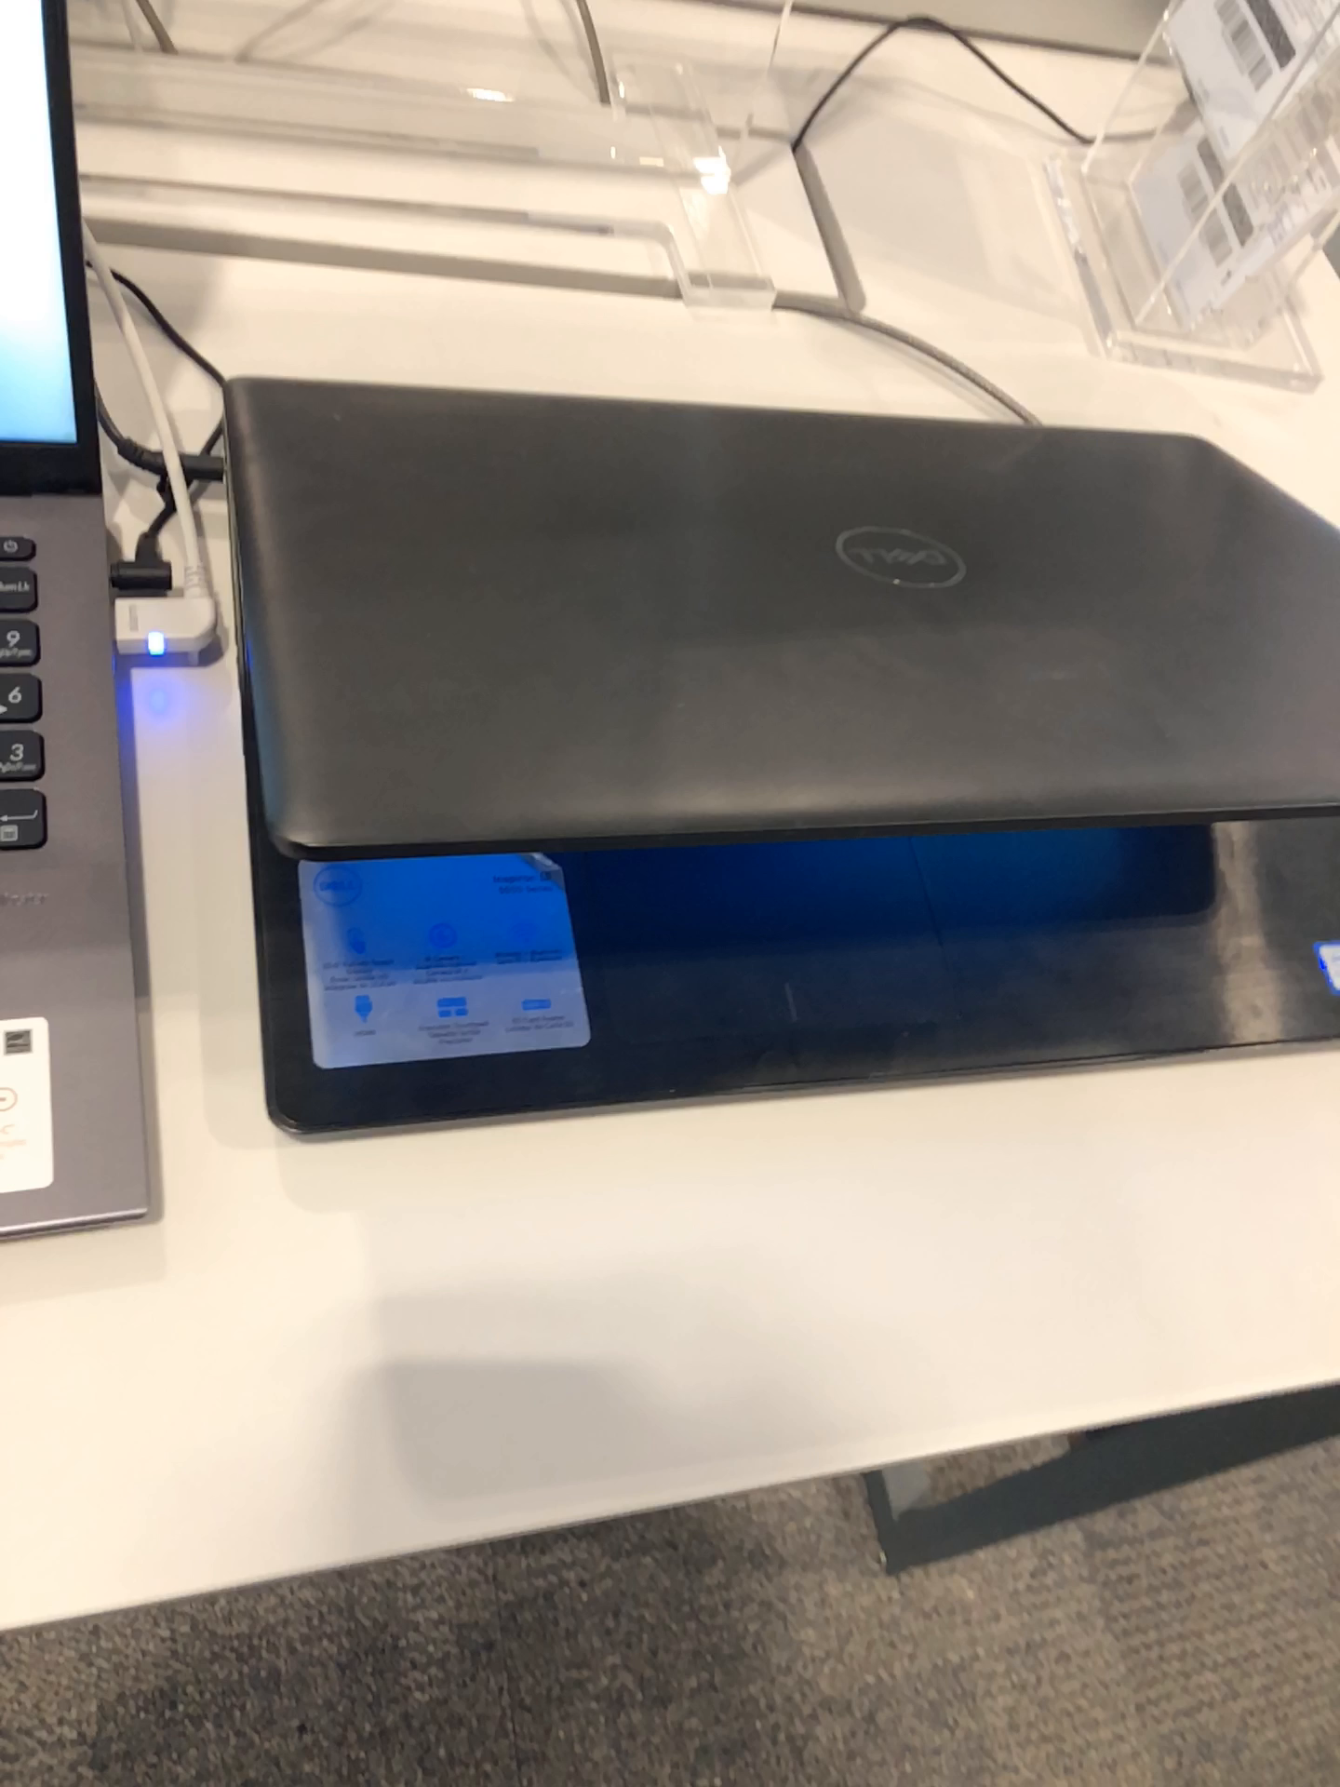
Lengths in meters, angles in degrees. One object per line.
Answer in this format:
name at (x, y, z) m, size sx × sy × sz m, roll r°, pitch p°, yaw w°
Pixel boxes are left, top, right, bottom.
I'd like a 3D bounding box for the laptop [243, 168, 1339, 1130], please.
laptop at (0.069, -0.079, 0.437) m, size 0.365 × 0.080 × 0.245 m, roll -2°, pitch 61°, yaw -20°
